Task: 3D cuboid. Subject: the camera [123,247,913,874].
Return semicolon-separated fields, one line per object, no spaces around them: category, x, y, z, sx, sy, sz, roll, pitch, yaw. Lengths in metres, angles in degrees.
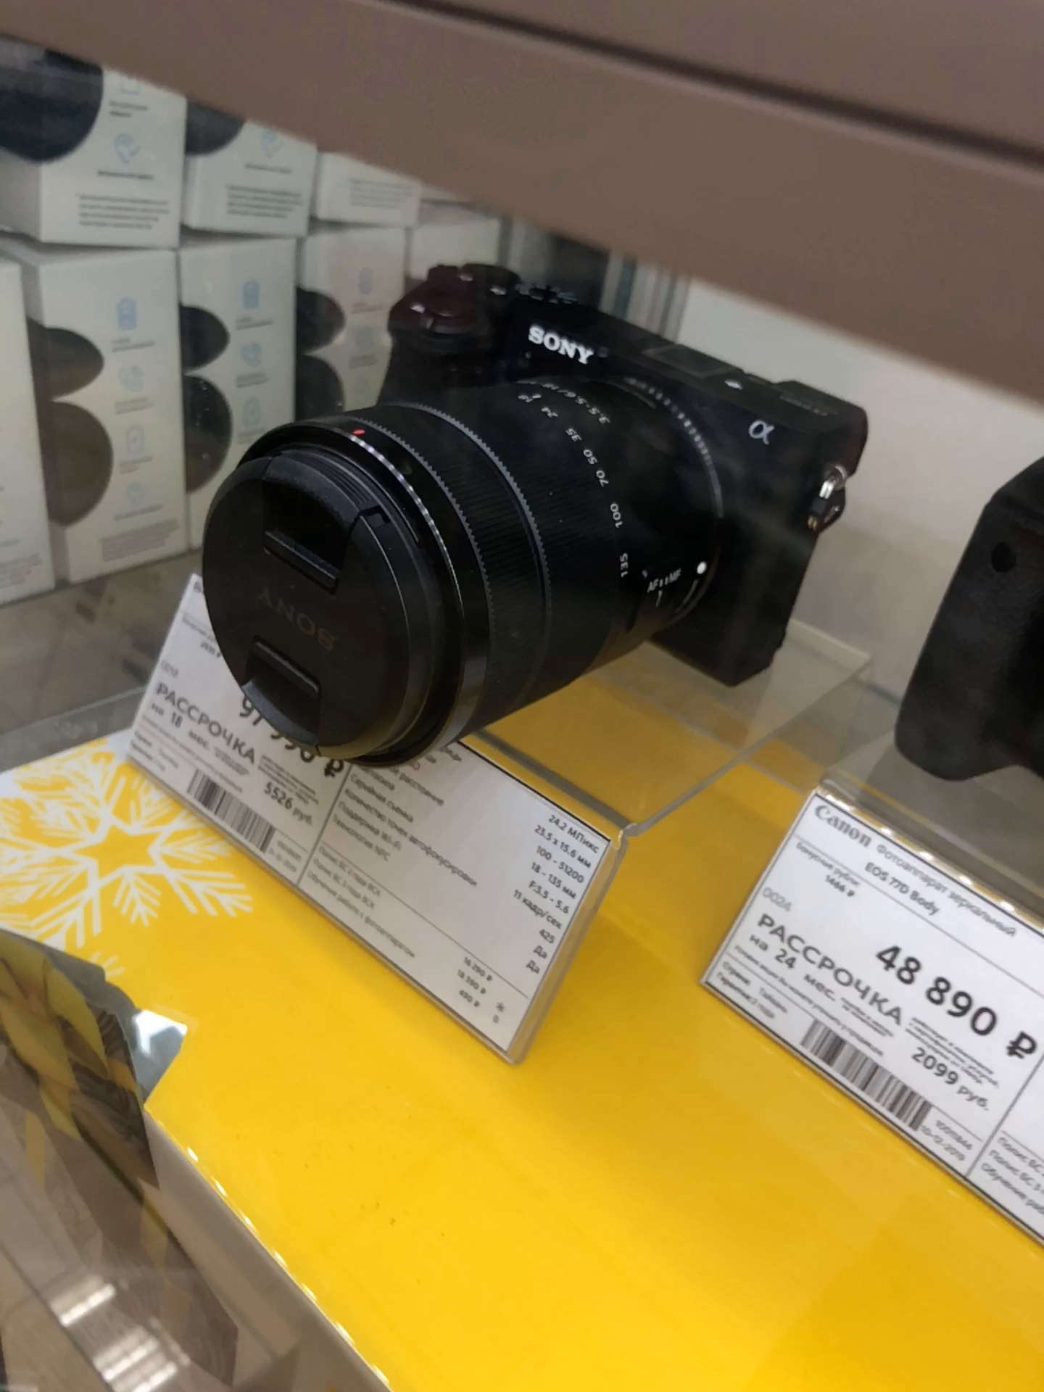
camera;-0.005;-0.047;0.282;0.130;0.080;0.123;34;39;32
